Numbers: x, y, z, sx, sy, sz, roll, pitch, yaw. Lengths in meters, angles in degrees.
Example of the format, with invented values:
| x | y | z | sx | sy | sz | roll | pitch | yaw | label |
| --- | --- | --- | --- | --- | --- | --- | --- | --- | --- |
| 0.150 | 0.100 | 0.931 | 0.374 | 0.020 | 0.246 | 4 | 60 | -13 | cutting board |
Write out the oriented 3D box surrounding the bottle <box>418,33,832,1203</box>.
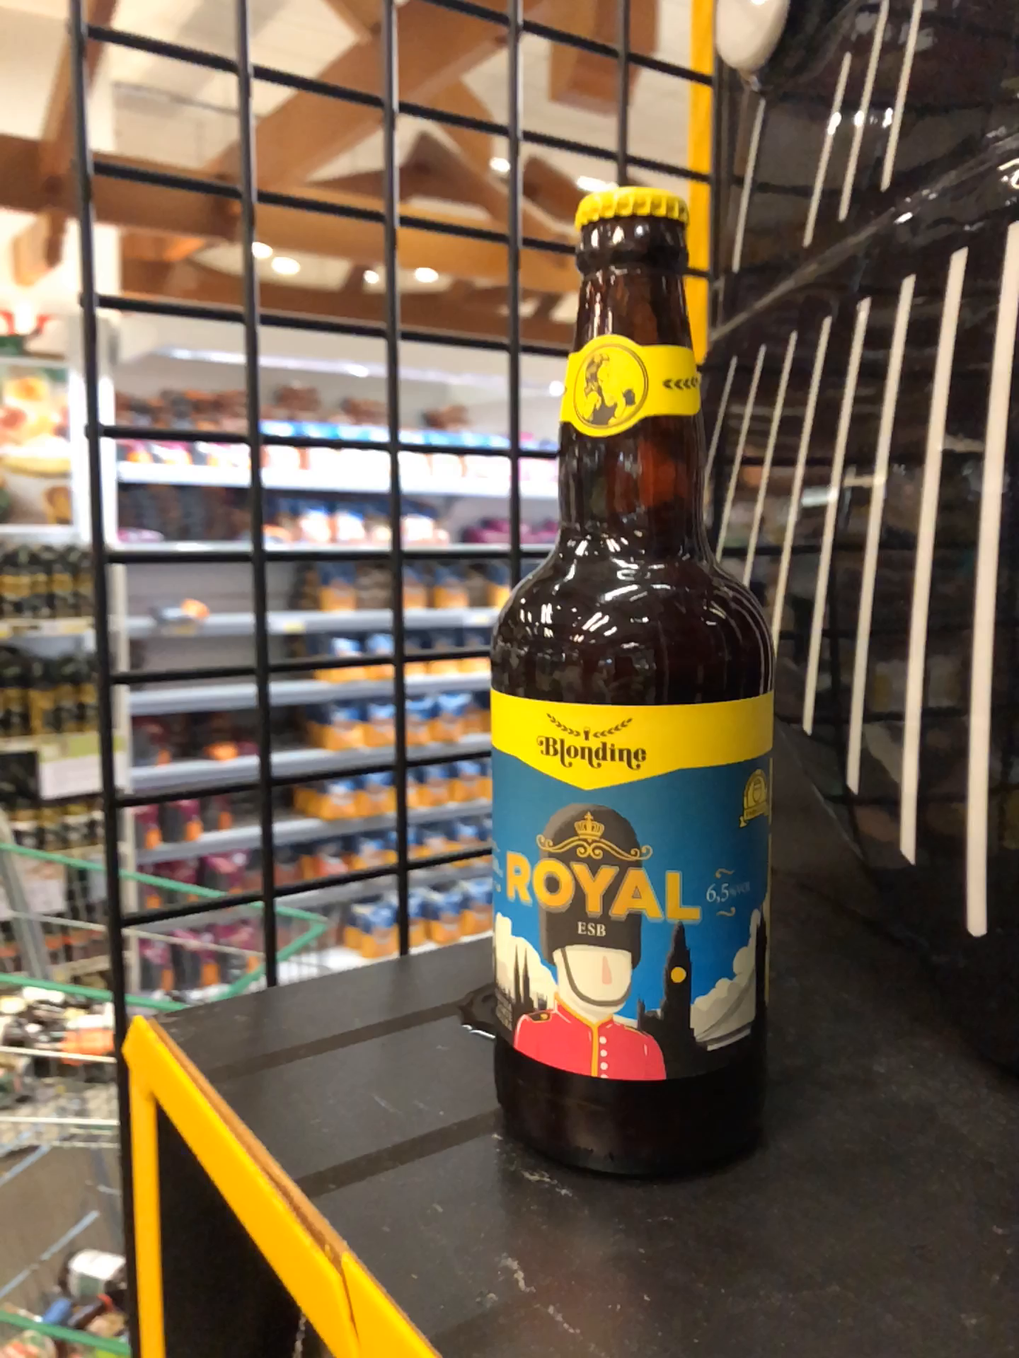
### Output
| x | y | z | sx | sy | sz | roll | pitch | yaw | label |
| --- | --- | --- | --- | --- | --- | --- | --- | --- | --- |
| 0.029 | -0.012 | 0.279 | 0.080 | 0.239 | 0.070 | 3 | 7 | 22 | bottle |
